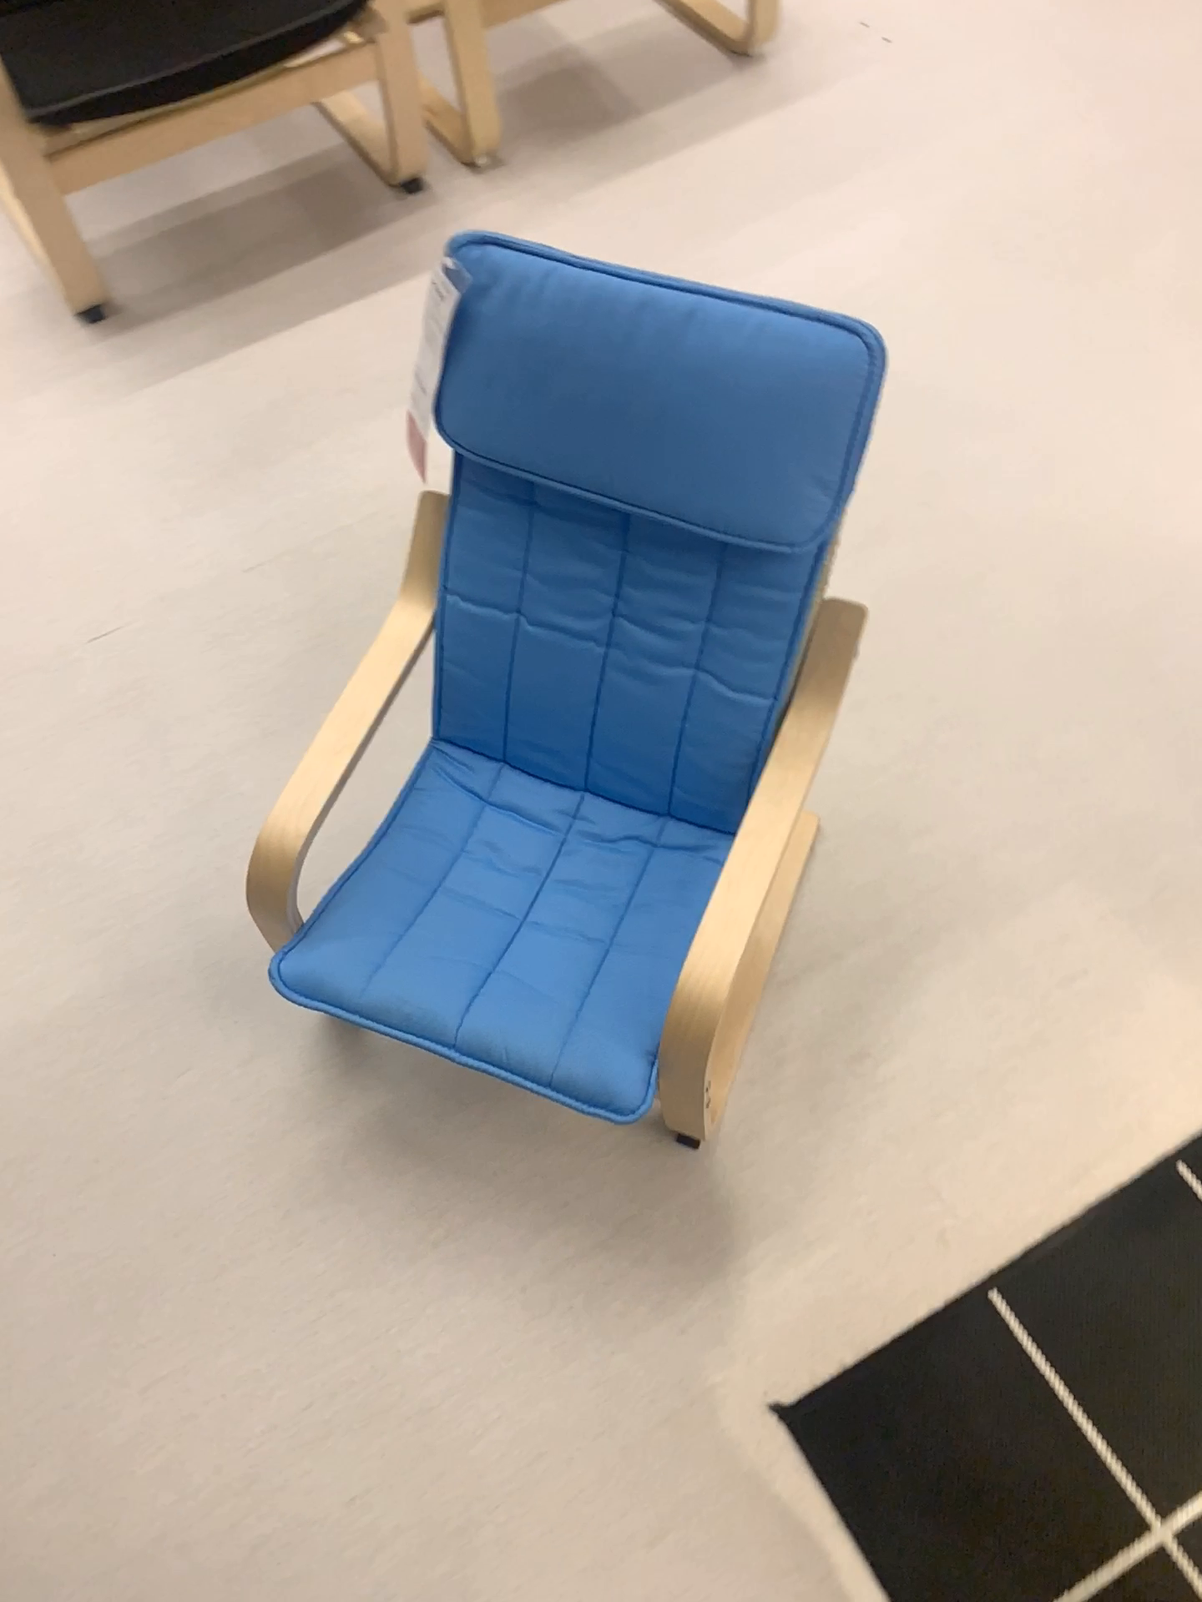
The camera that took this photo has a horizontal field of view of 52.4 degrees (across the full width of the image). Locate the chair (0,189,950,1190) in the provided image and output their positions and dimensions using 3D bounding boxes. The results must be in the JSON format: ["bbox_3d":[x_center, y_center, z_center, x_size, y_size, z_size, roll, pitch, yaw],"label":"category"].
[{"bbox_3d":[-0.061,-0.062,1.103,0.510,0.639,0.501,18,61,14],"label":"chair"}]
